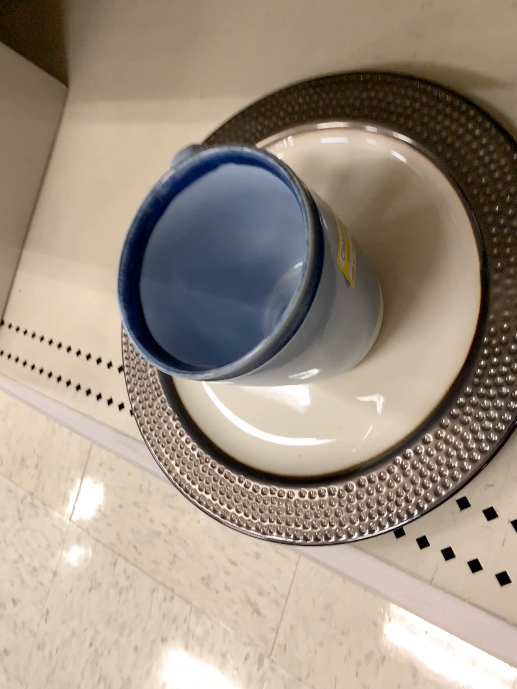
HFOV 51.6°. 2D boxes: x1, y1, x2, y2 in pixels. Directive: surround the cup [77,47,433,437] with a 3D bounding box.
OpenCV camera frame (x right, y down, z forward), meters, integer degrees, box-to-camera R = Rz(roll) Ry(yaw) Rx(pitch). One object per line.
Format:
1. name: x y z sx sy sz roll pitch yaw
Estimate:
1. cup: -0.004 -0.036 0.250 0.094 0.094 0.128 -33 64 25
